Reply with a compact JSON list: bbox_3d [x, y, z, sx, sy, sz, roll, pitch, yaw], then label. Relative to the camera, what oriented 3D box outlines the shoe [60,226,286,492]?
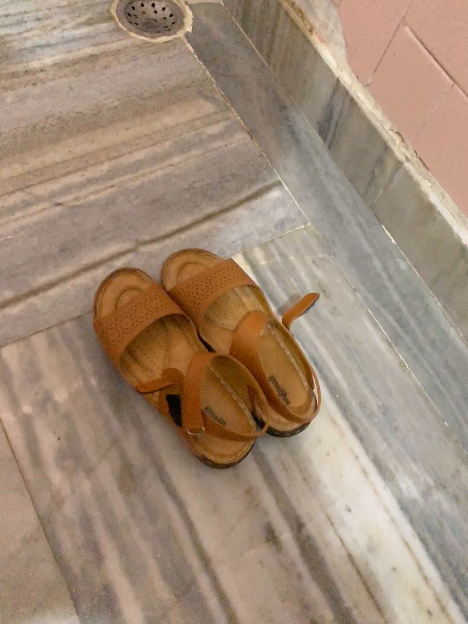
[{"bbox_3d":[-0.071,0.050,0.506,0.090,0.100,0.256,-32,77,-21],"label":"shoe"}]

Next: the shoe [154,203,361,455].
[{"bbox_3d":[0.013,0.018,0.532,0.090,0.100,0.250,-28,75,-21],"label":"shoe"}]
